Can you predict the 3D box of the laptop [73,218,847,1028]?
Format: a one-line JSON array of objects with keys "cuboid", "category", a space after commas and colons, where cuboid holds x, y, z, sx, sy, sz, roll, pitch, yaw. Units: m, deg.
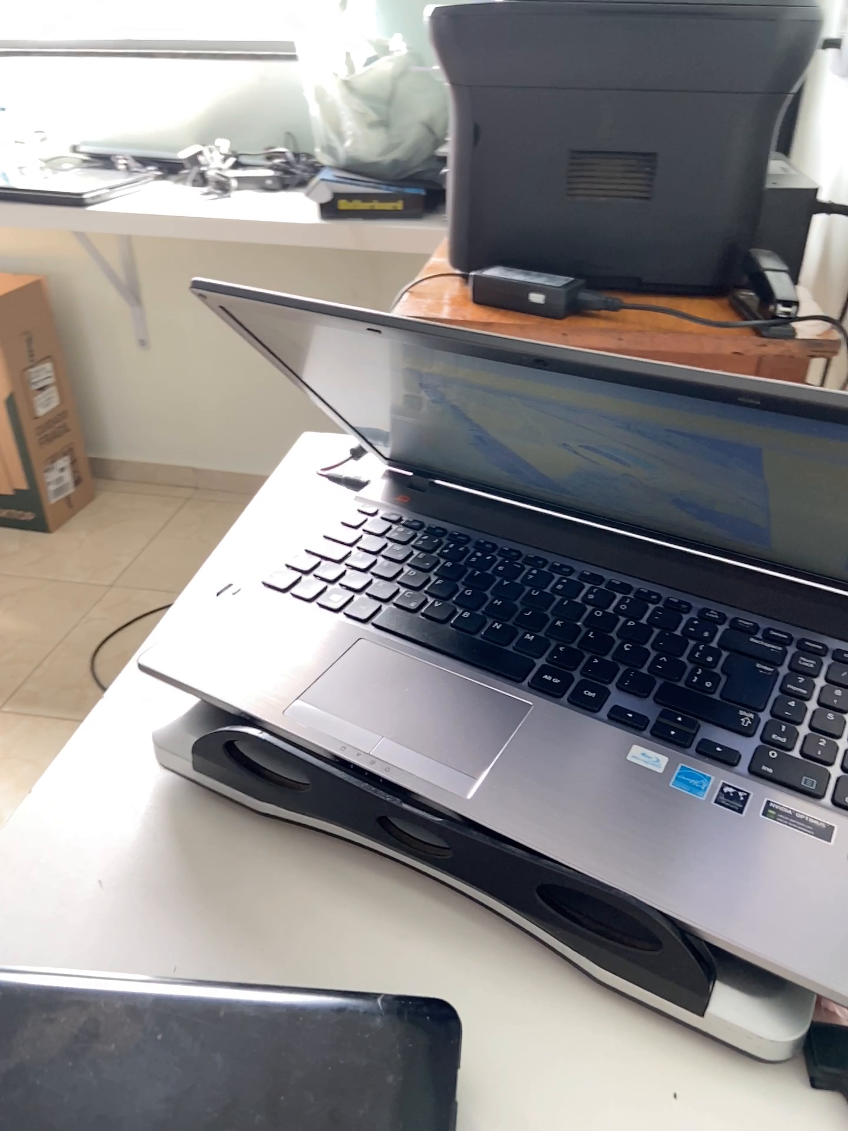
[{"cuboid": [0.067, -0.026, 0.406, 0.359, 0.164, 0.231, 18, 39, 25], "category": "laptop"}]
